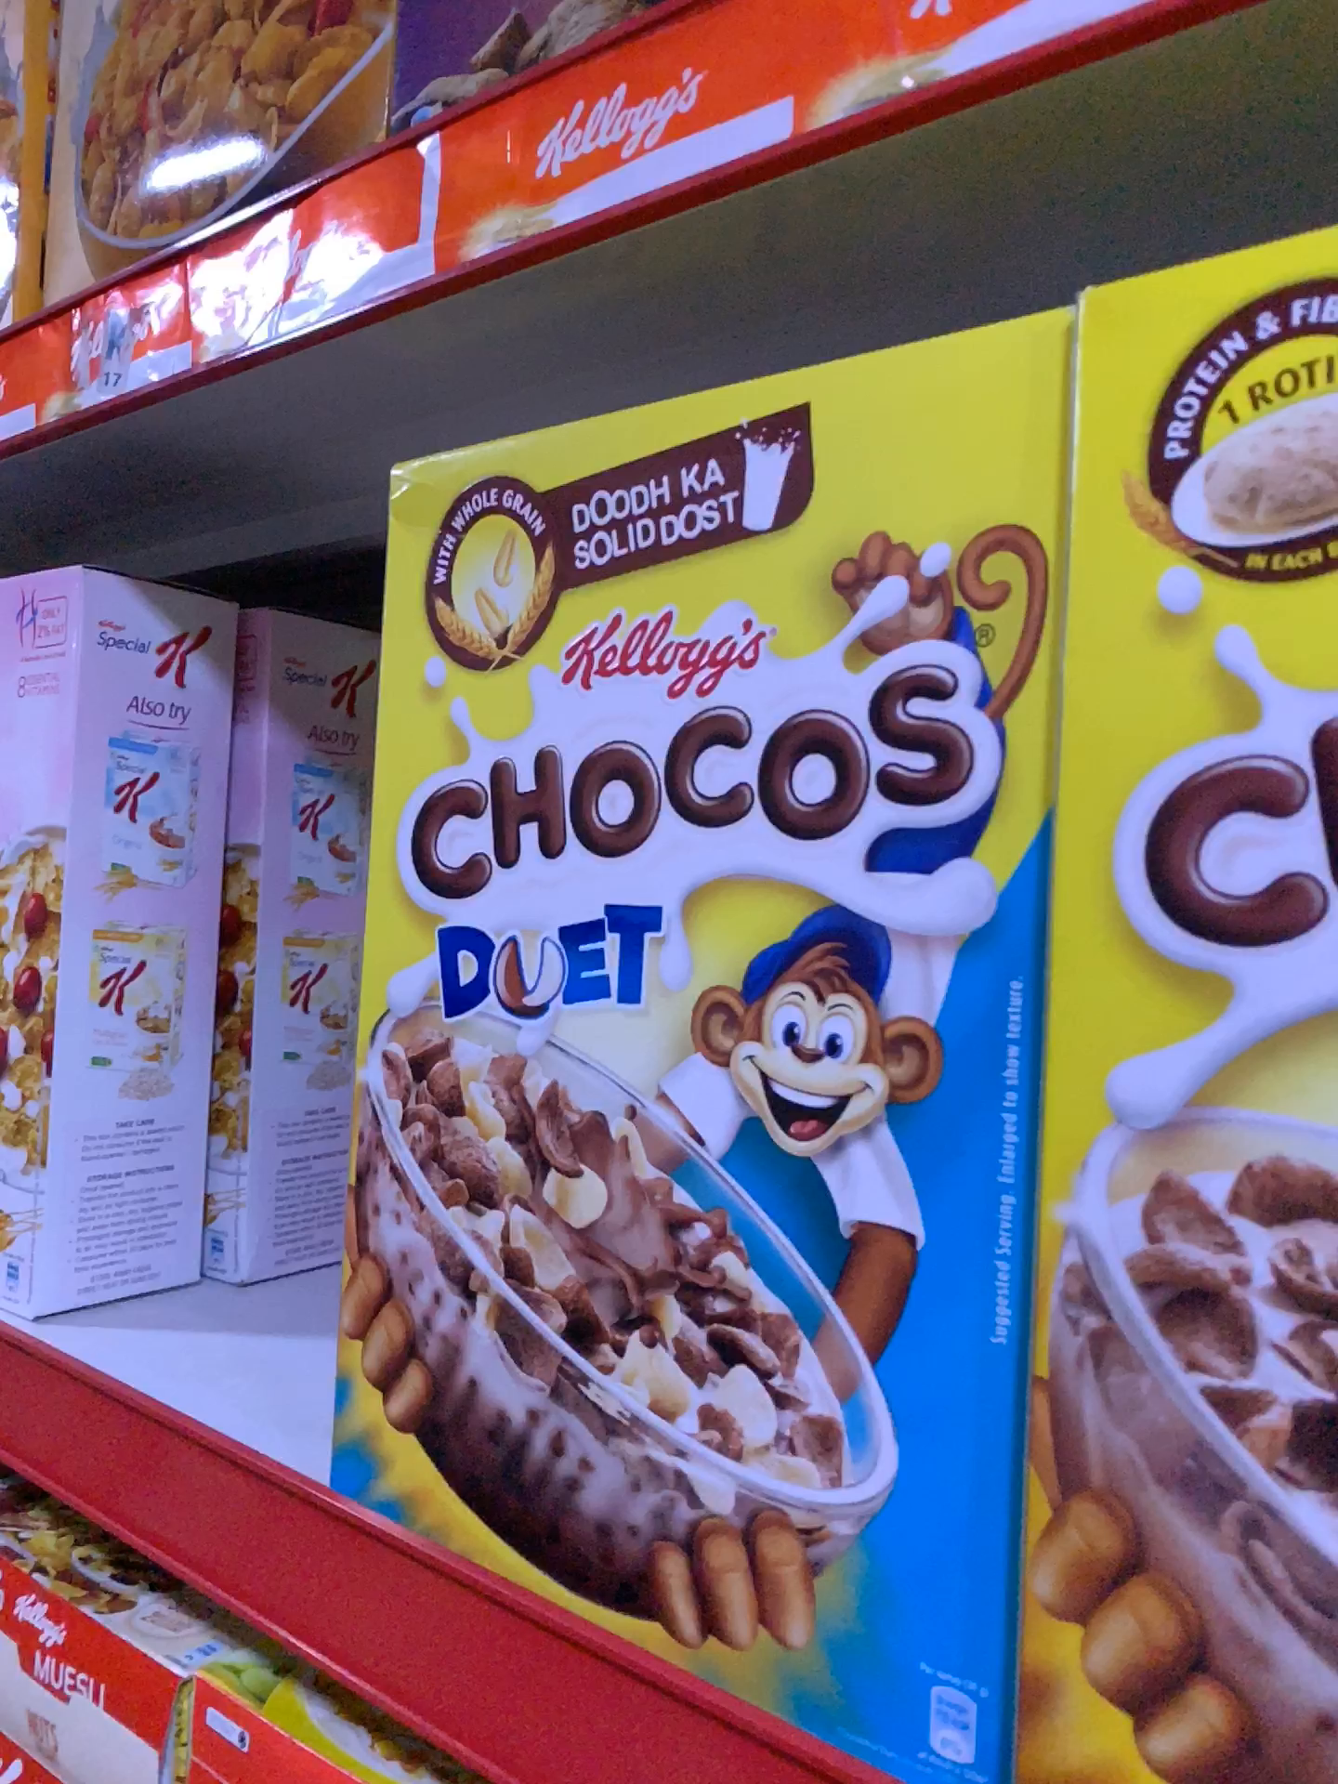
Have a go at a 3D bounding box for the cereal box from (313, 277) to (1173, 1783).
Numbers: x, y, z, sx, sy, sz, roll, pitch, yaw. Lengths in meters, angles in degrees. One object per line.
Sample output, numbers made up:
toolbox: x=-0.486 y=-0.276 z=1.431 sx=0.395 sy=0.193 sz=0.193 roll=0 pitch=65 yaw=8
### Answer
cereal box: x=0.007 y=0.025 z=0.295 sx=0.170 sy=0.250 sz=0.060 roll=2 pitch=-2 yaw=40
